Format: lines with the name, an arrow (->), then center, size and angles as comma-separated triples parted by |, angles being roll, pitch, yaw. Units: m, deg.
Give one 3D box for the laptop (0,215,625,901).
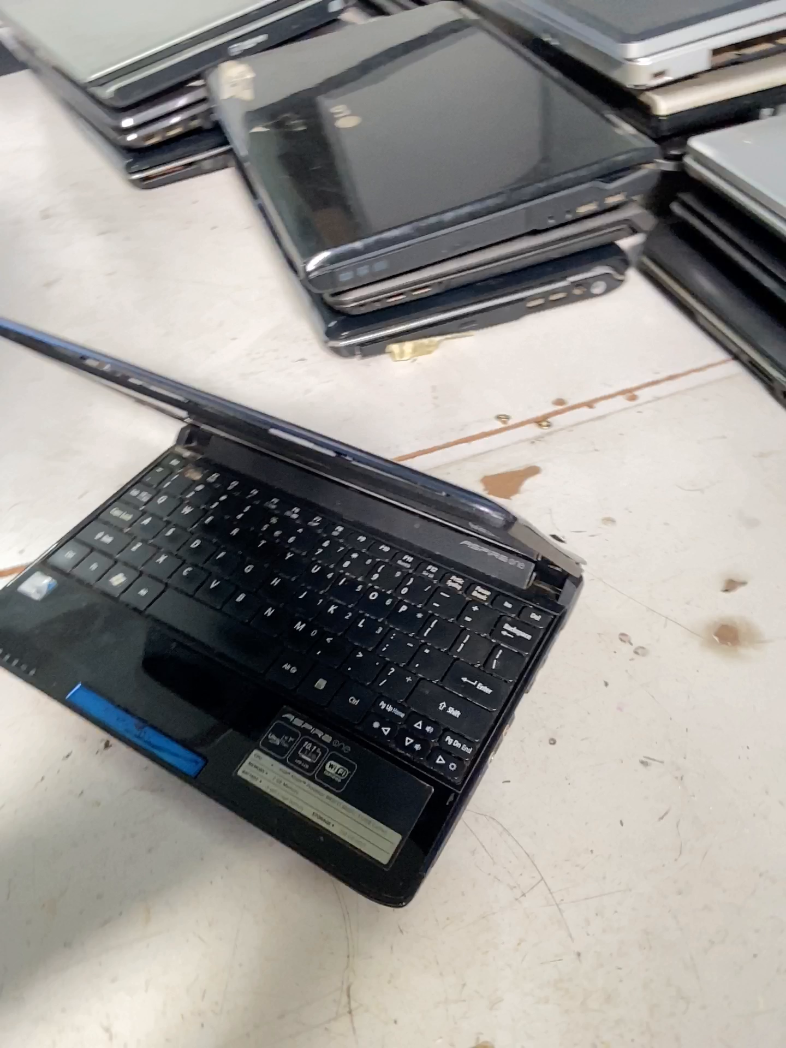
laptop -> -0.062, -0.007, 0.337 | 0.244, 0.131, 0.172 | 22, 52, 23
